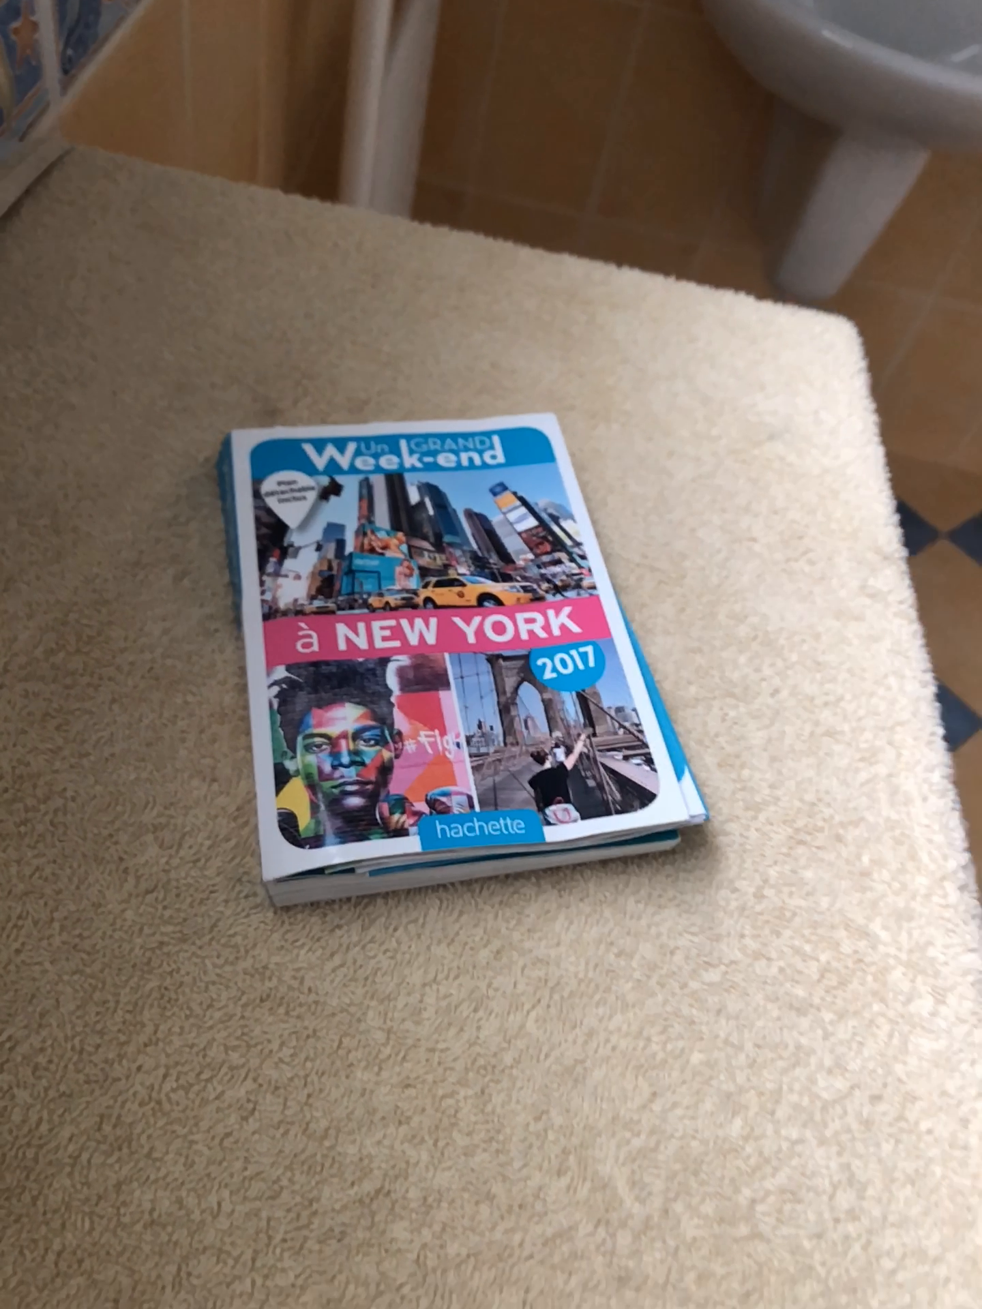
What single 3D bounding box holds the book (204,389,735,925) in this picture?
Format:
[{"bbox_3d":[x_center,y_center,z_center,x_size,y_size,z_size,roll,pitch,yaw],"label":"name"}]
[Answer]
[{"bbox_3d":[-0.015,-0.011,0.311,0.120,0.020,0.161,-6,54,-10],"label":"book"}]
